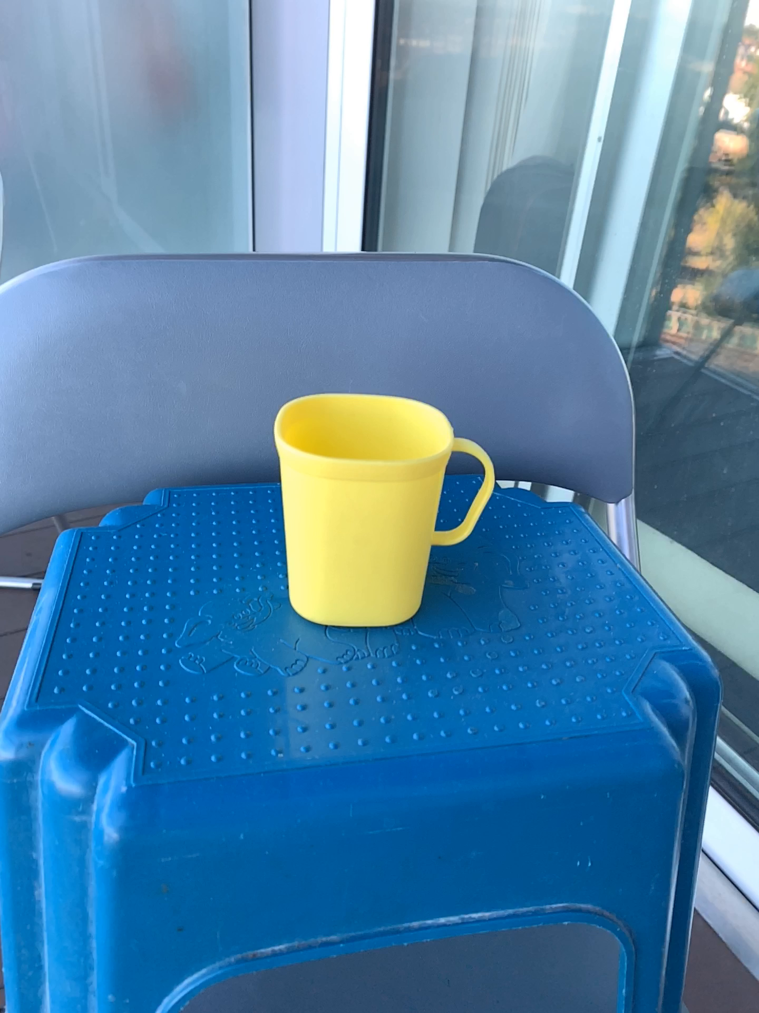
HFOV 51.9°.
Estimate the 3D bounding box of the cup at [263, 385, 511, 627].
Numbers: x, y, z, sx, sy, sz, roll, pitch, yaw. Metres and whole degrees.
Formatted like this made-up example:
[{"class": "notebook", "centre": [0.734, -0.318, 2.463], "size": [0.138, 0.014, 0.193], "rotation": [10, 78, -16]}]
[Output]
[{"class": "cup", "centre": [0.000, -0.002, 0.327], "size": [0.089, 0.077, 0.068], "rotation": [0, 28, -4]}]
